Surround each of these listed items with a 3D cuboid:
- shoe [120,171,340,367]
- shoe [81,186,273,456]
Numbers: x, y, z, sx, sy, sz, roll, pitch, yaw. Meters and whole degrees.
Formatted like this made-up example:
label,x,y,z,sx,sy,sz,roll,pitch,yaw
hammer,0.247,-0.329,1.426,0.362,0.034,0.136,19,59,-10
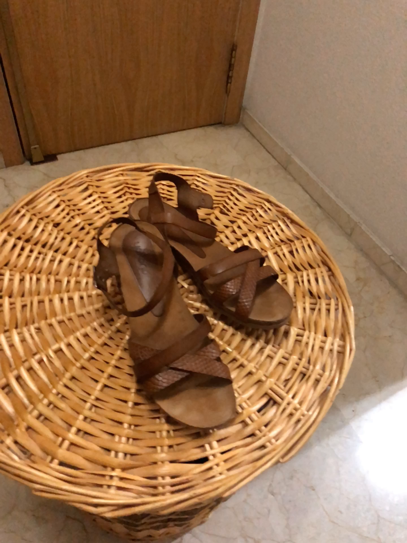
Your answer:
label,x,y,z,sx,sy,sz,roll,pitch,yaw
shoe,0.022,-0.016,0.575,0.280,0.060,0.100,40,56,24
shoe,-0.043,0.040,0.501,0.100,0.070,0.281,-17,63,-21
